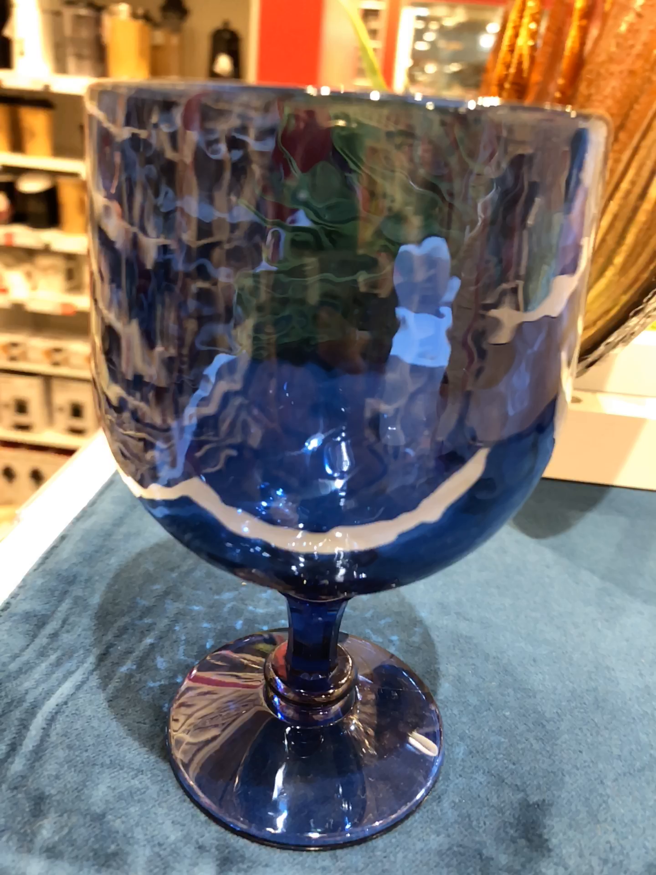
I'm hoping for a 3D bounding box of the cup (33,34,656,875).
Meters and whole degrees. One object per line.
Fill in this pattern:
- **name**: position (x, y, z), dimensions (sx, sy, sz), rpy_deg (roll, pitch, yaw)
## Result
- **cup**: position (0.002, 0.004, 0.151), dimensions (0.090, 0.139, 0.080), rpy_deg (0, 24, -10)
